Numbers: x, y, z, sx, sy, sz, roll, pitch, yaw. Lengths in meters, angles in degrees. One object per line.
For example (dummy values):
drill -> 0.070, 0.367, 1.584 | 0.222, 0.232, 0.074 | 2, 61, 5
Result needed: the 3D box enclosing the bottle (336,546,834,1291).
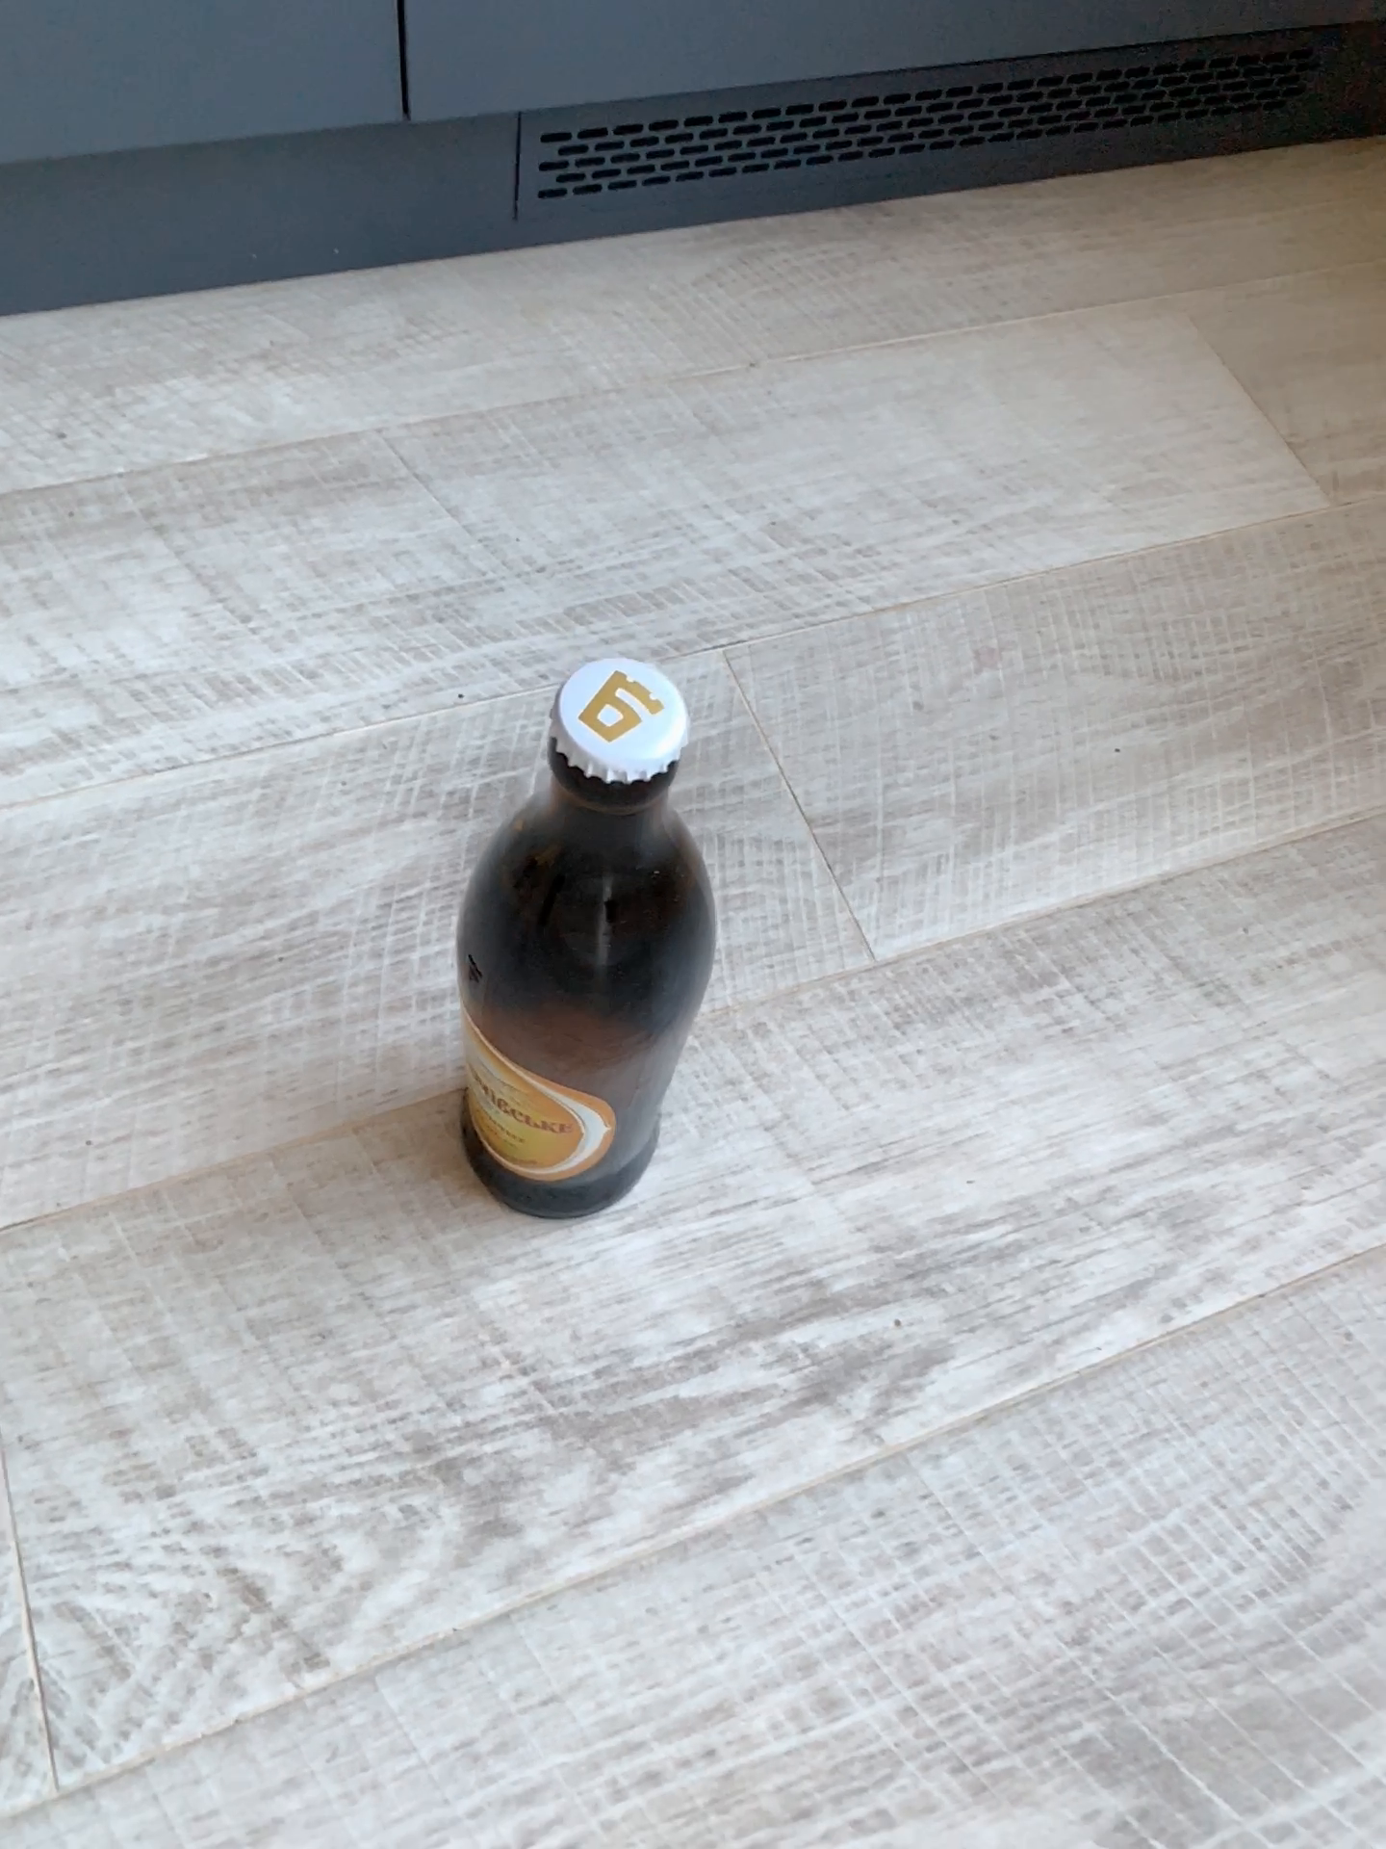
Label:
bottle -> -0.035, 0.018, 0.374 | 0.070, 0.229, 0.070 | 4, 60, -6
